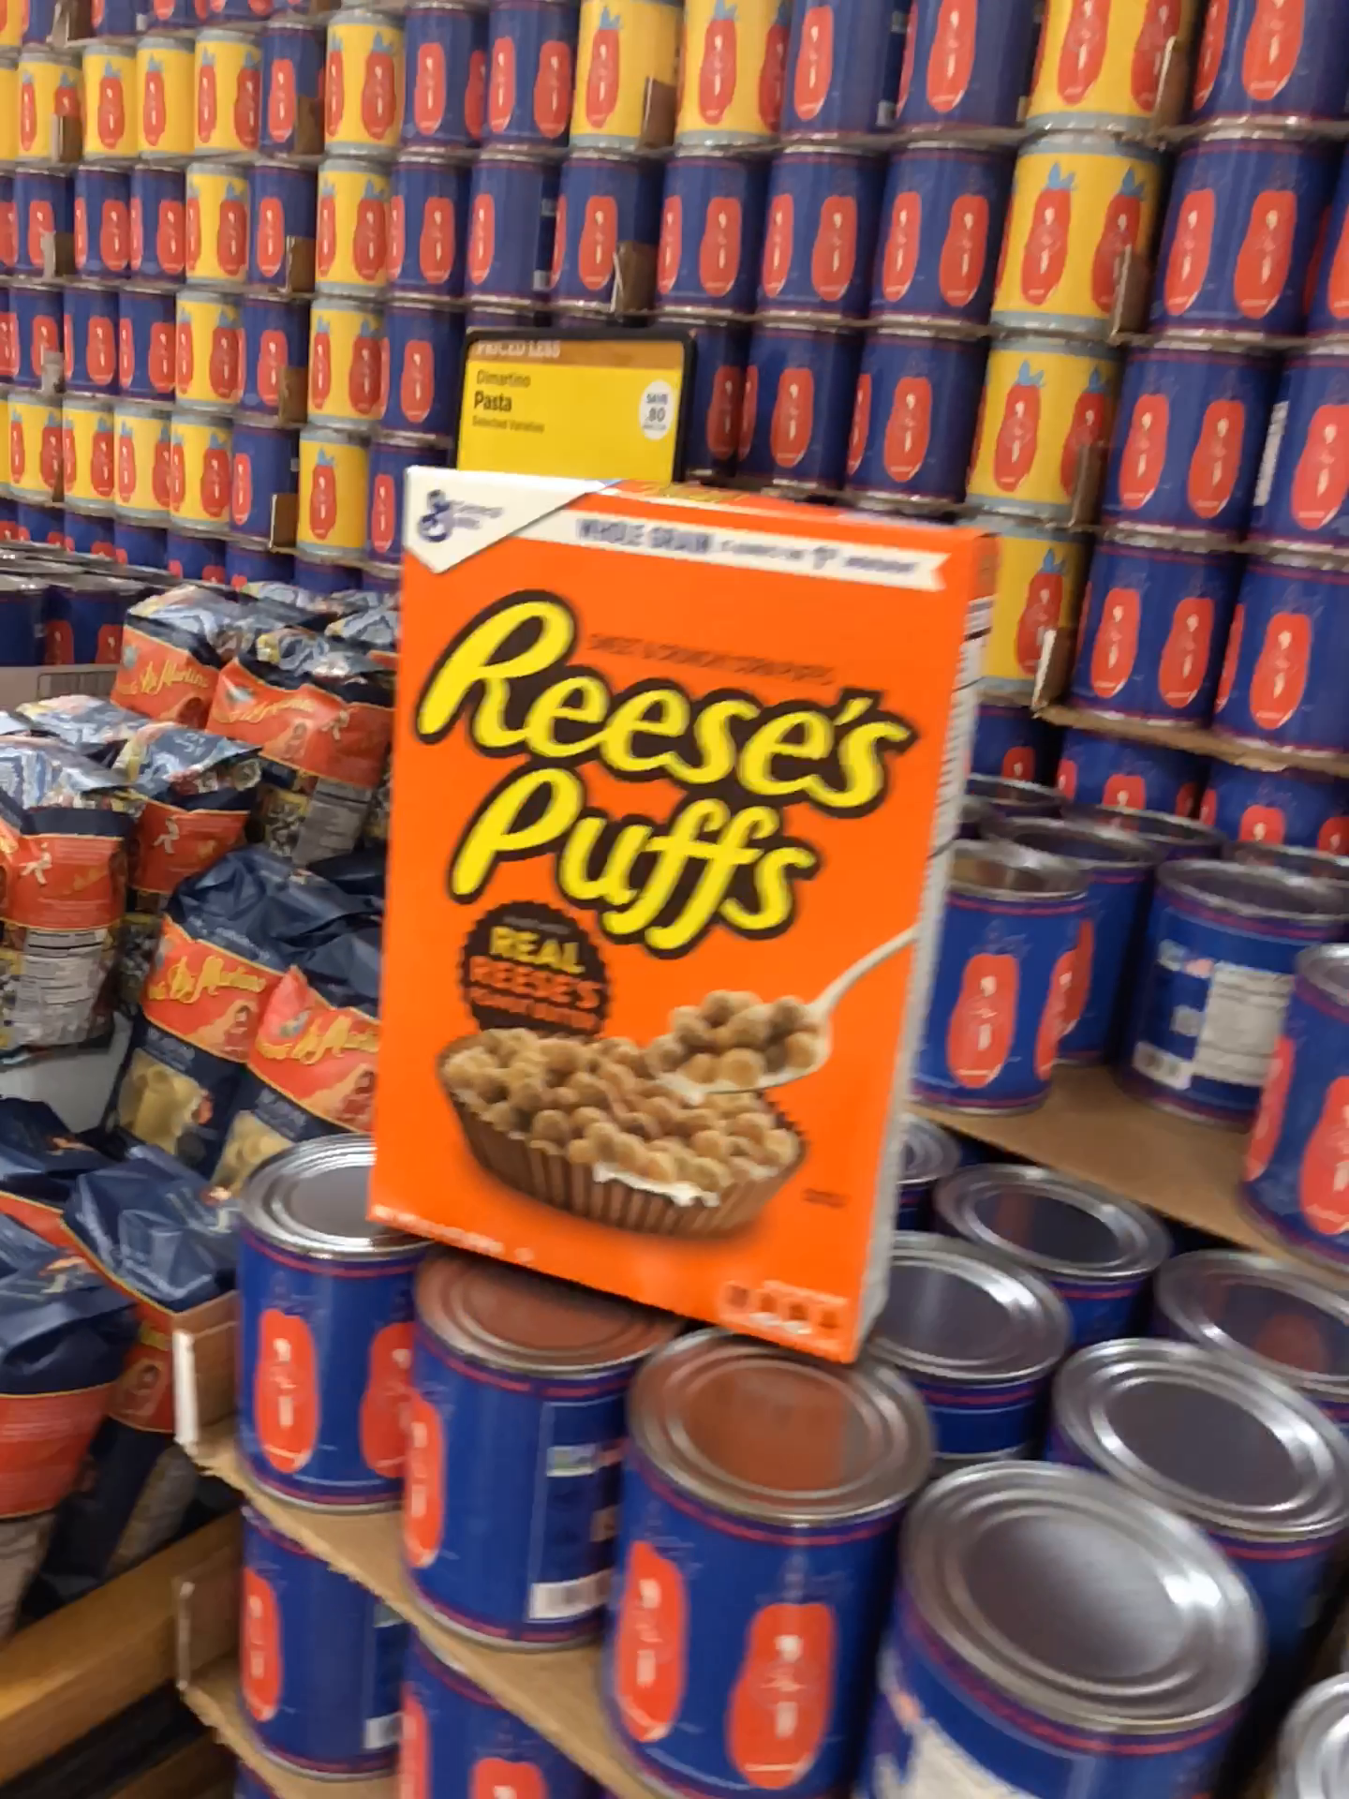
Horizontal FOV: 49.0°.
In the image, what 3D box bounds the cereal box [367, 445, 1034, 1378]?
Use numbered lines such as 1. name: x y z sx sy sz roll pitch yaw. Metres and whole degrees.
1. cereal box: -0.002 0.001 0.523 0.200 0.289 0.050 12 17 18
